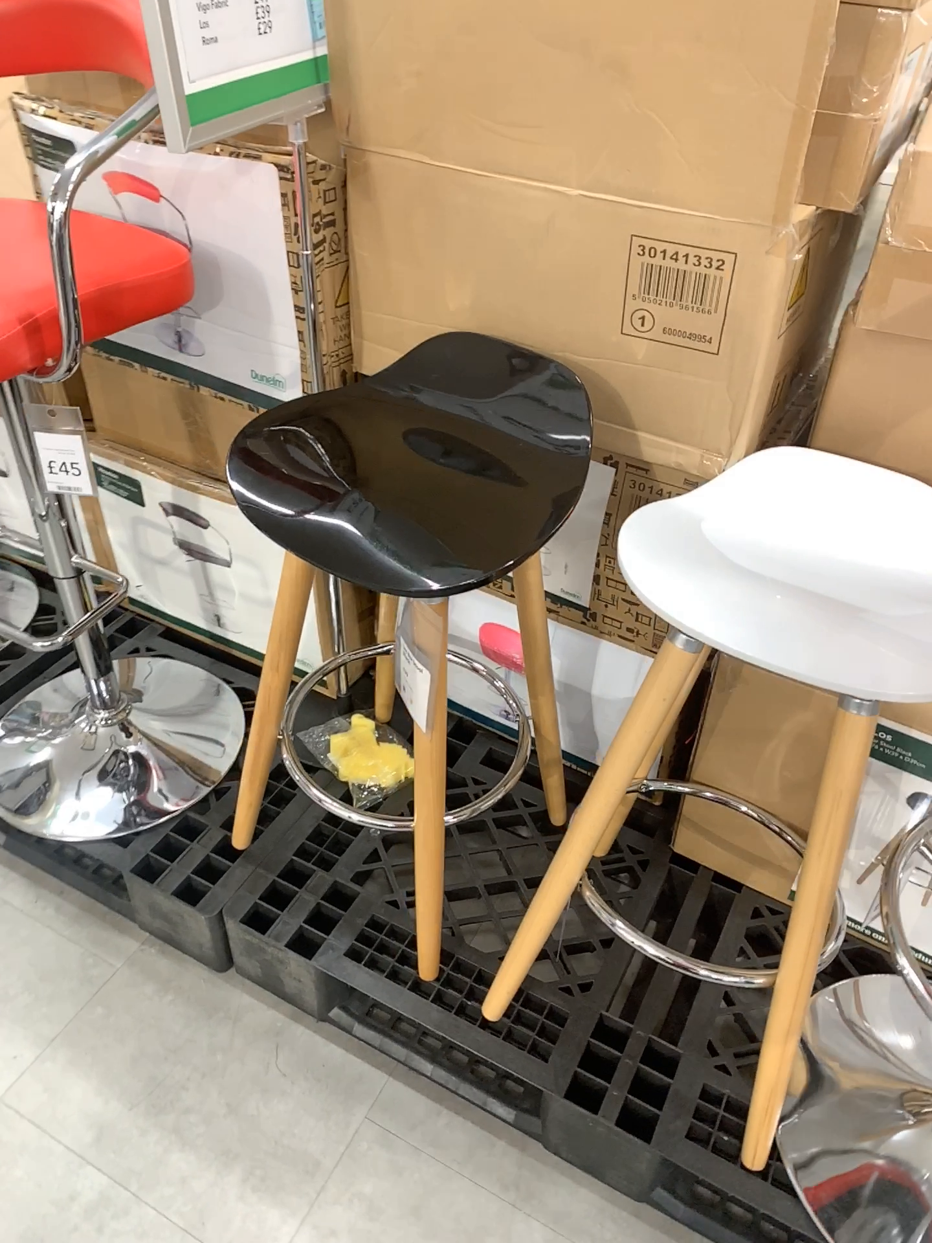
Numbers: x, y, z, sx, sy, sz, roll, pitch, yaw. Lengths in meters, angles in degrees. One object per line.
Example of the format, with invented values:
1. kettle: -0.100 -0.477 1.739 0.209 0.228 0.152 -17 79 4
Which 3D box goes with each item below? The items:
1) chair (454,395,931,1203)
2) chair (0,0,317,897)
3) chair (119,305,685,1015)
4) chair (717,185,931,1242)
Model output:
1. chair: 0.293 0.184 1.091 0.409 0.663 0.483 20 40 22
2. chair: -0.581 -0.229 1.256 0.549 1.029 0.453 17 39 18
3. chair: -0.068 0.036 1.216 0.430 0.673 0.432 25 42 26
4. chair: 0.614 0.233 0.813 0.509 0.980 0.453 17 39 18
